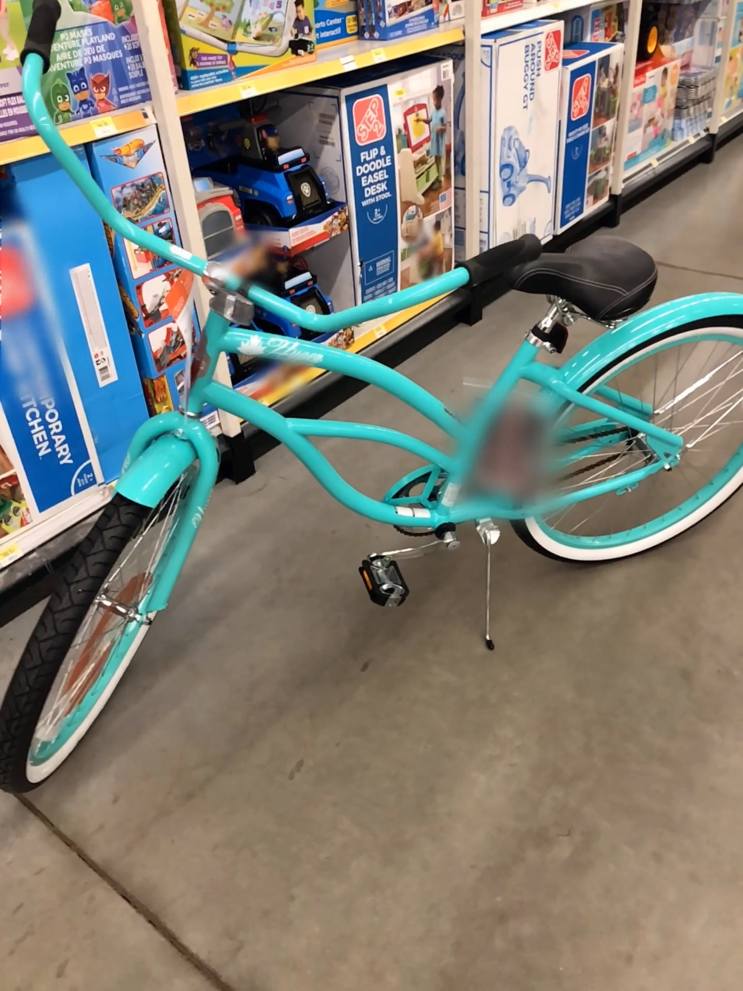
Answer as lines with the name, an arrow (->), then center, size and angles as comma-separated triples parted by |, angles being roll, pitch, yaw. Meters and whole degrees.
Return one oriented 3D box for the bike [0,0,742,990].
bike -> 0.124, -0.056, 1.284 | 1.493, 1.144, 0.762 | -23, 39, -17
